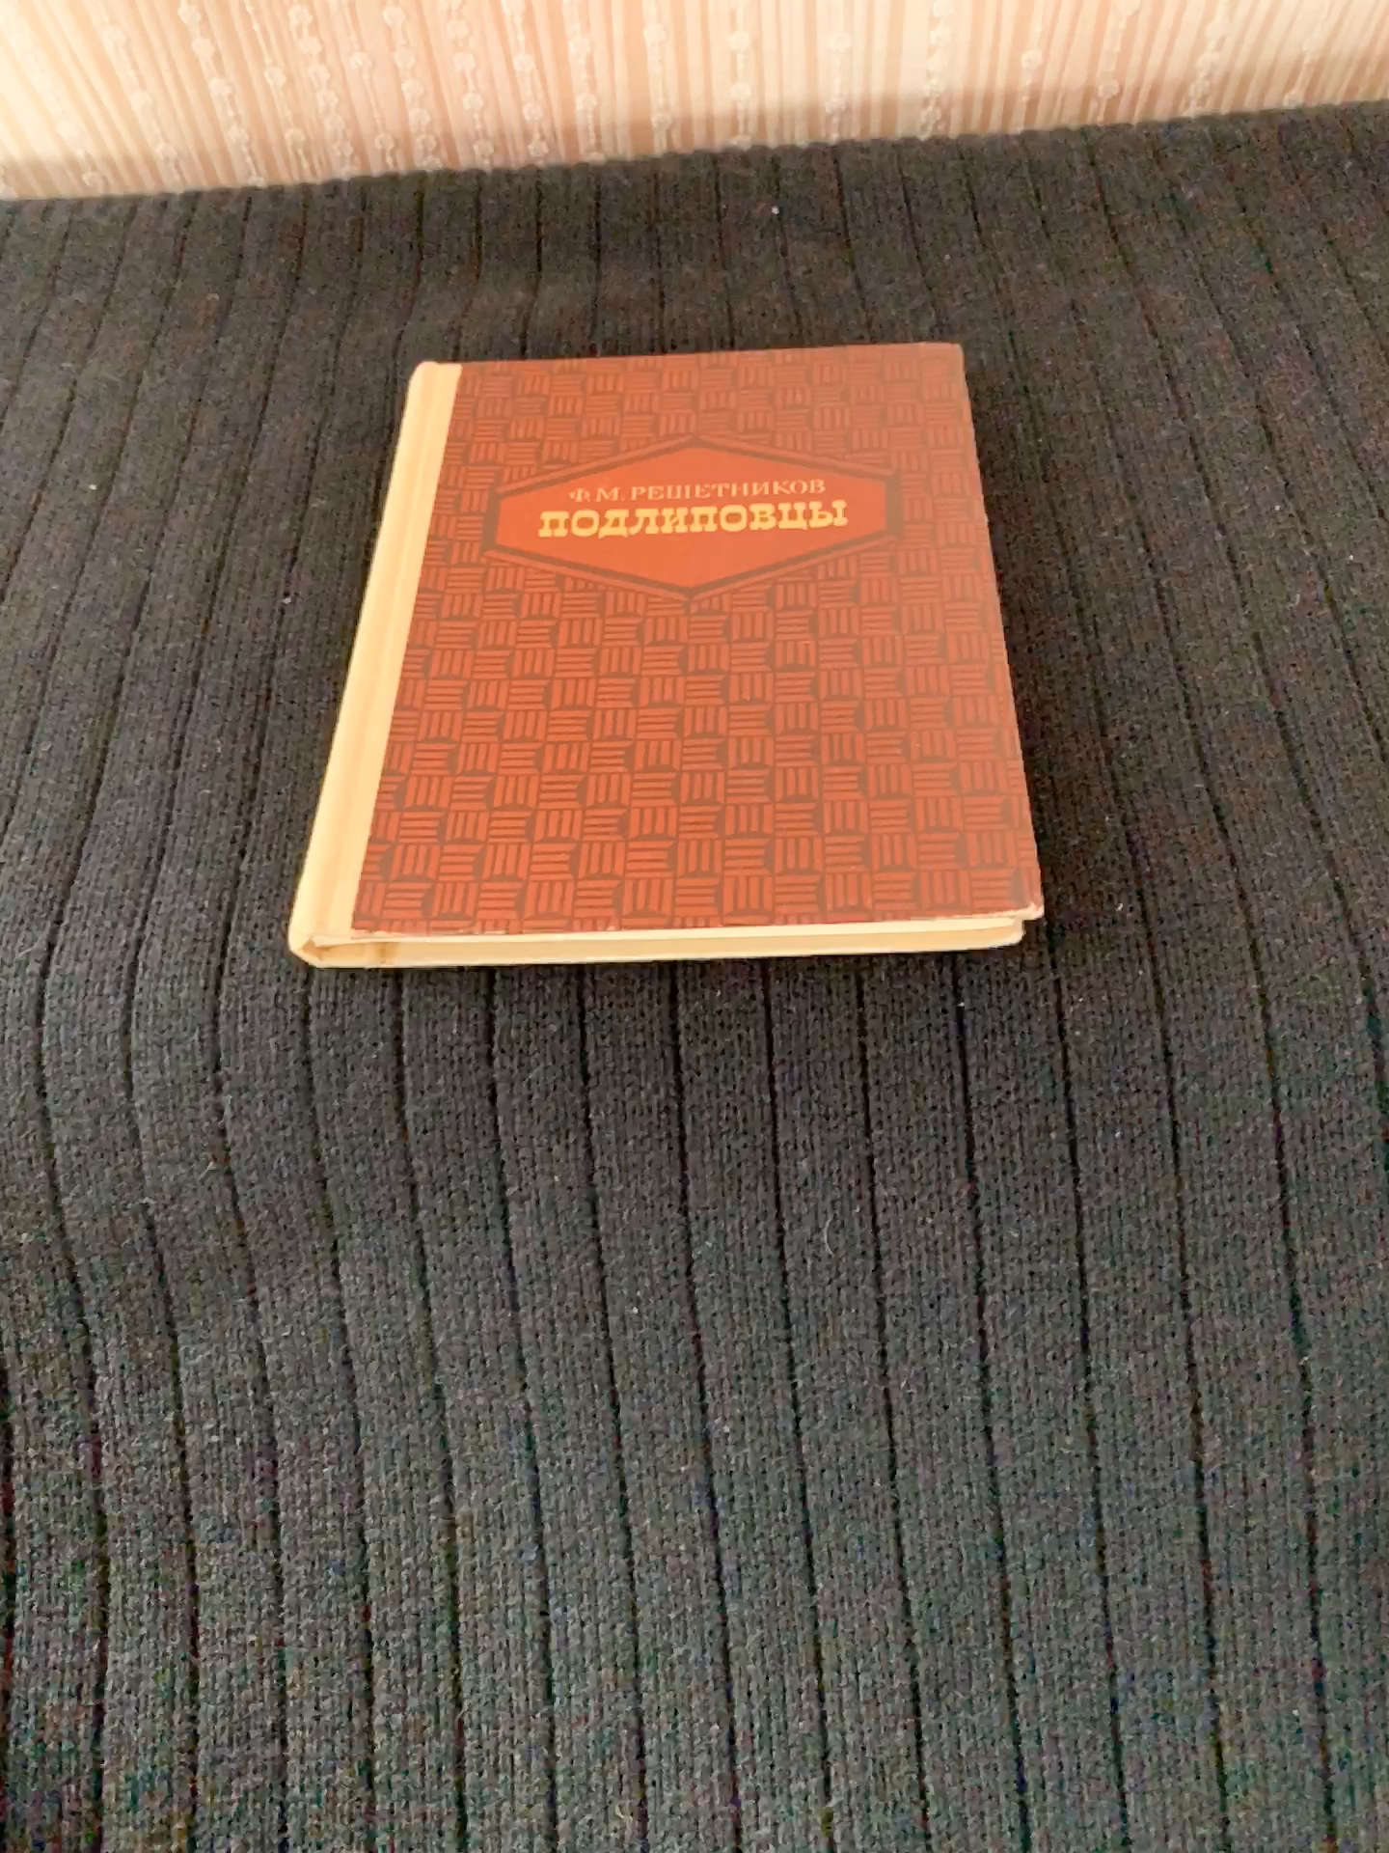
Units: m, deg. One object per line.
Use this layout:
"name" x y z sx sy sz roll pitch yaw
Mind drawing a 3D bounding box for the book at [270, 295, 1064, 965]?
"book" -0.004 -0.071 0.293 0.129 0.015 0.178 -2 53 3
